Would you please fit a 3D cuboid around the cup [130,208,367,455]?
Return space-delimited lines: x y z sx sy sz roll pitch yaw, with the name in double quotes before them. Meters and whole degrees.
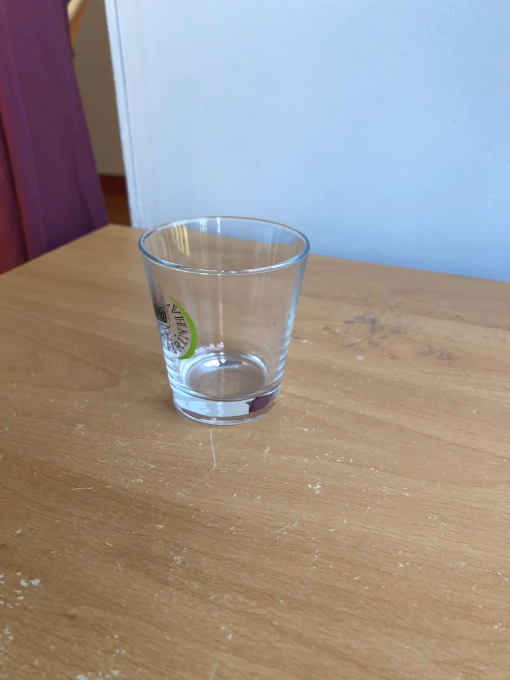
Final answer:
"cup" -0.007 -0.010 0.258 0.076 0.073 0.079 0 27 0
